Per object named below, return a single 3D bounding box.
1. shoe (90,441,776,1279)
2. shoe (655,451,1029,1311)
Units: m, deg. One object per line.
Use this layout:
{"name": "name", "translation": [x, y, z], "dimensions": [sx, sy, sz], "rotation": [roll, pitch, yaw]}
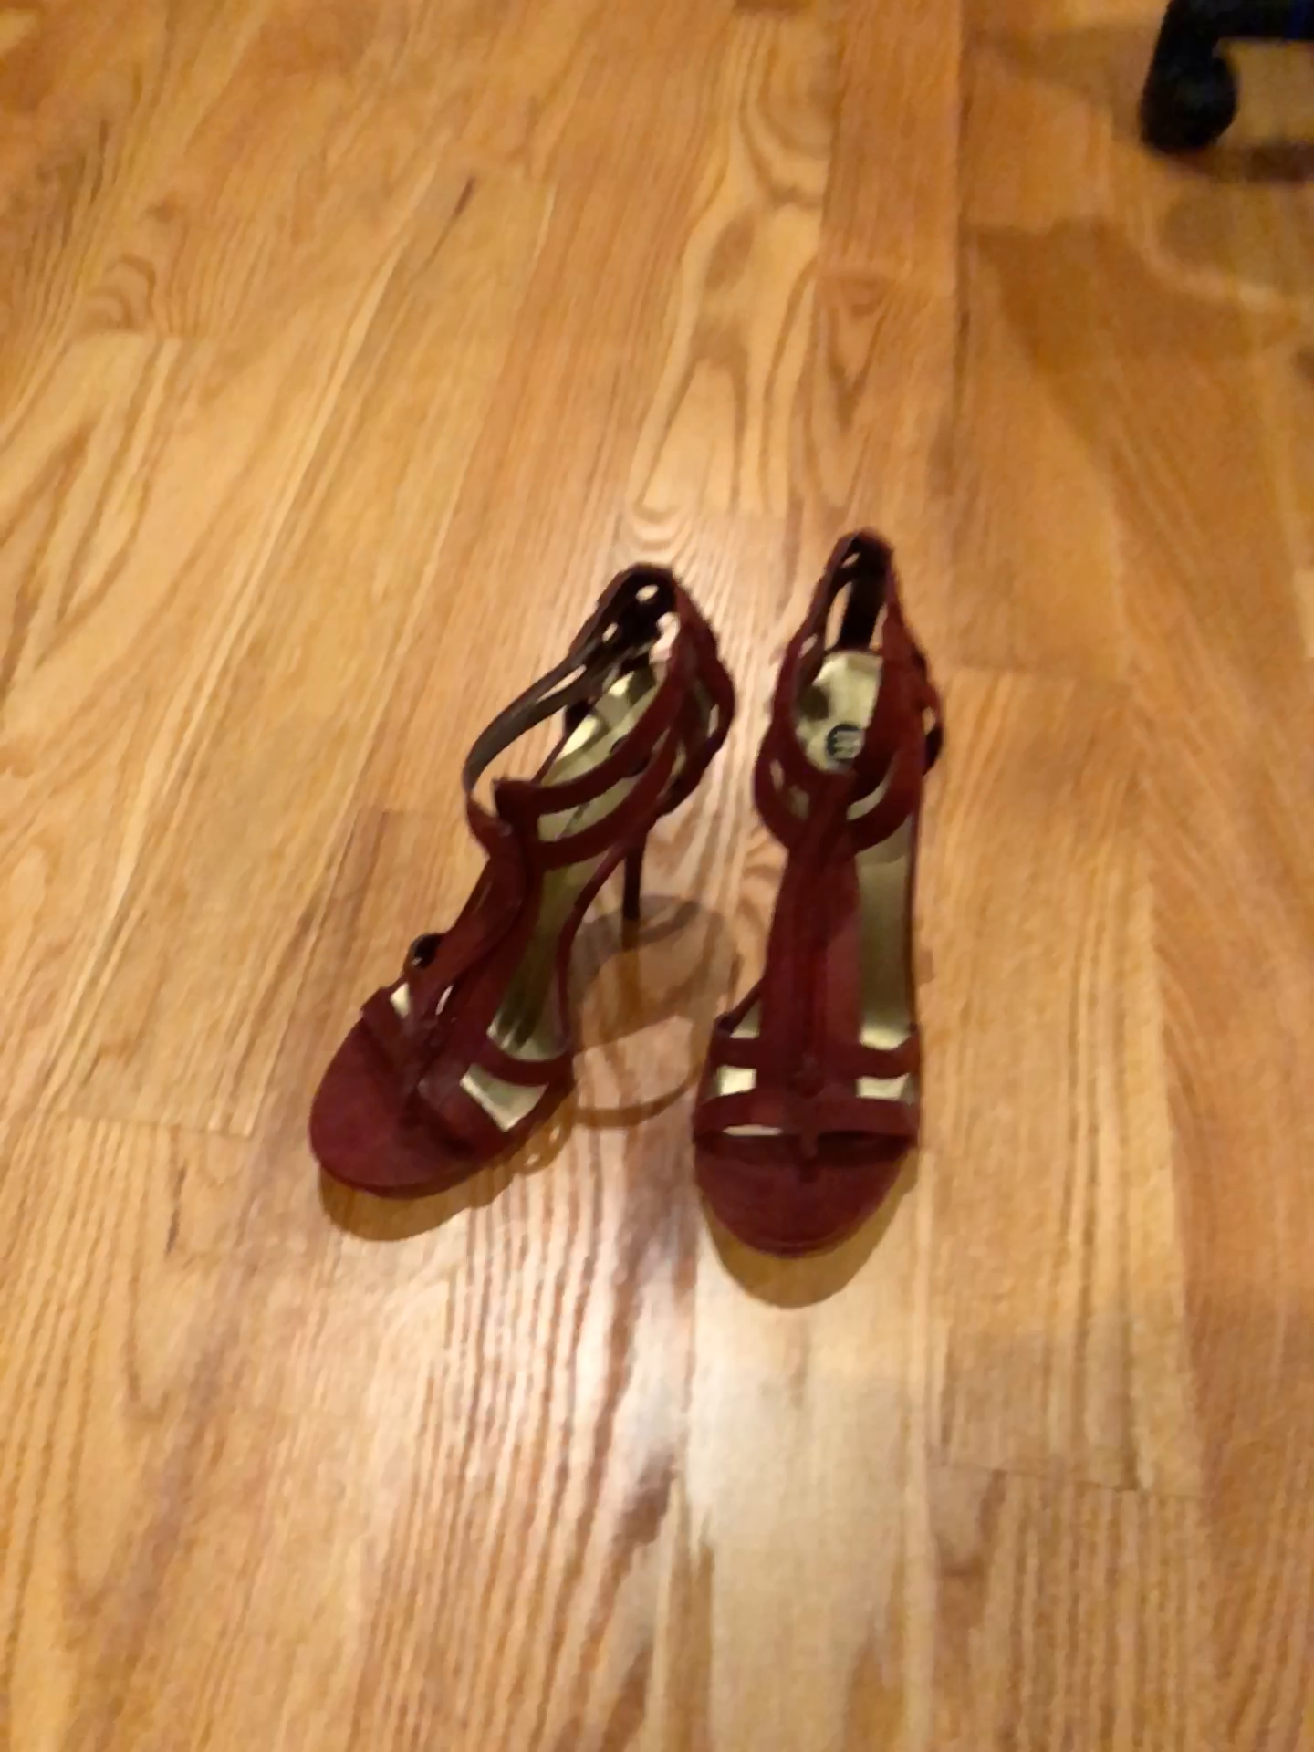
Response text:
{"name": "shoe", "translation": [-0.055, -0.004, 0.477], "dimensions": [0.085, 0.175, 0.199], "rotation": [28, 58, 19]}
{"name": "shoe", "translation": [0.054, 0.003, 0.469], "dimensions": [0.085, 0.175, 0.207], "rotation": [6, 53, 3]}
